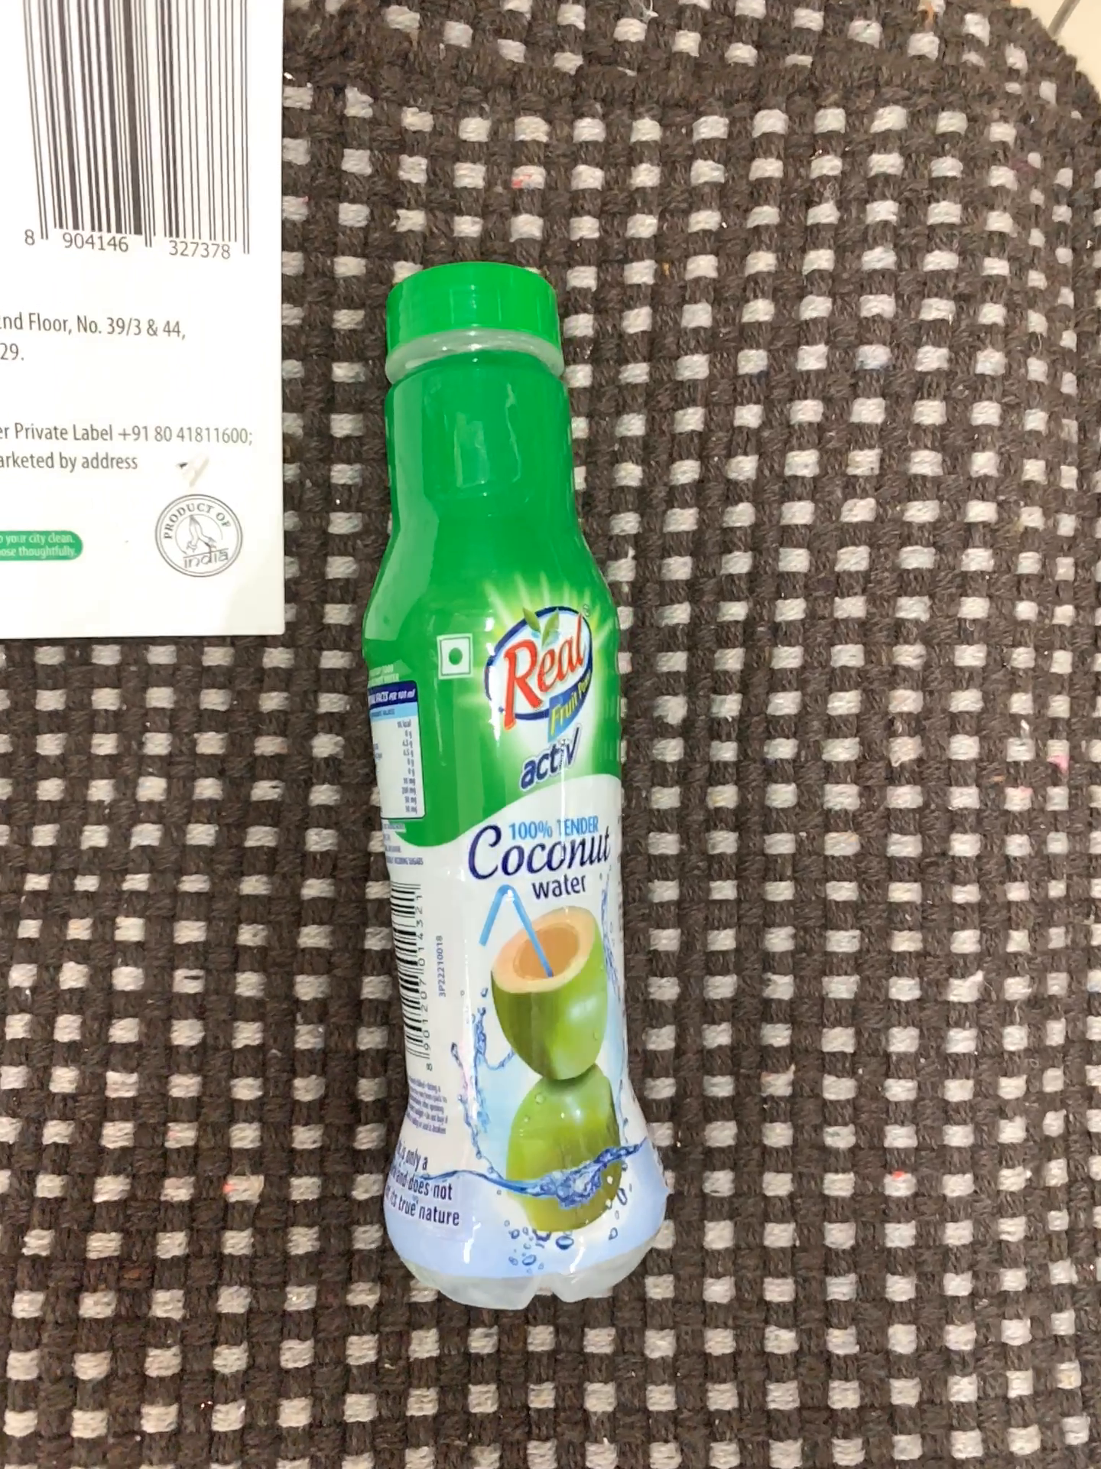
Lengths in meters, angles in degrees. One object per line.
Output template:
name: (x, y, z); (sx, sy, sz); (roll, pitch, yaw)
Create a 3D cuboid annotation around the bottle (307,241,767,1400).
bottle: (-0.003, 0.013, 0.194); (0.060, 0.040, 0.170); (-5, 96, -17)
